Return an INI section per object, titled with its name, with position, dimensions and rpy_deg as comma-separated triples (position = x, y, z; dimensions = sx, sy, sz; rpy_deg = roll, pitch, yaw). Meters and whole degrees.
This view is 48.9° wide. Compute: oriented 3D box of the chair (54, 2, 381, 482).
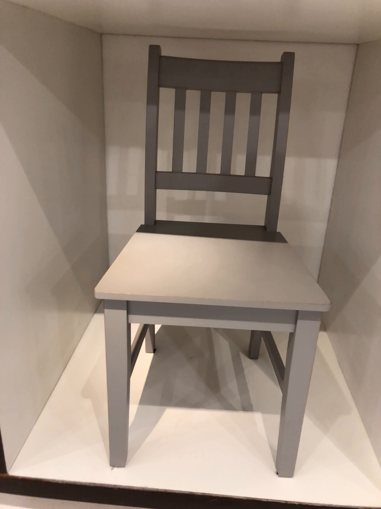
[chair]
position = 0.037, -0.044, 0.997
dimensions = 0.460, 0.864, 0.584
rpy_deg = 3, 23, 1
